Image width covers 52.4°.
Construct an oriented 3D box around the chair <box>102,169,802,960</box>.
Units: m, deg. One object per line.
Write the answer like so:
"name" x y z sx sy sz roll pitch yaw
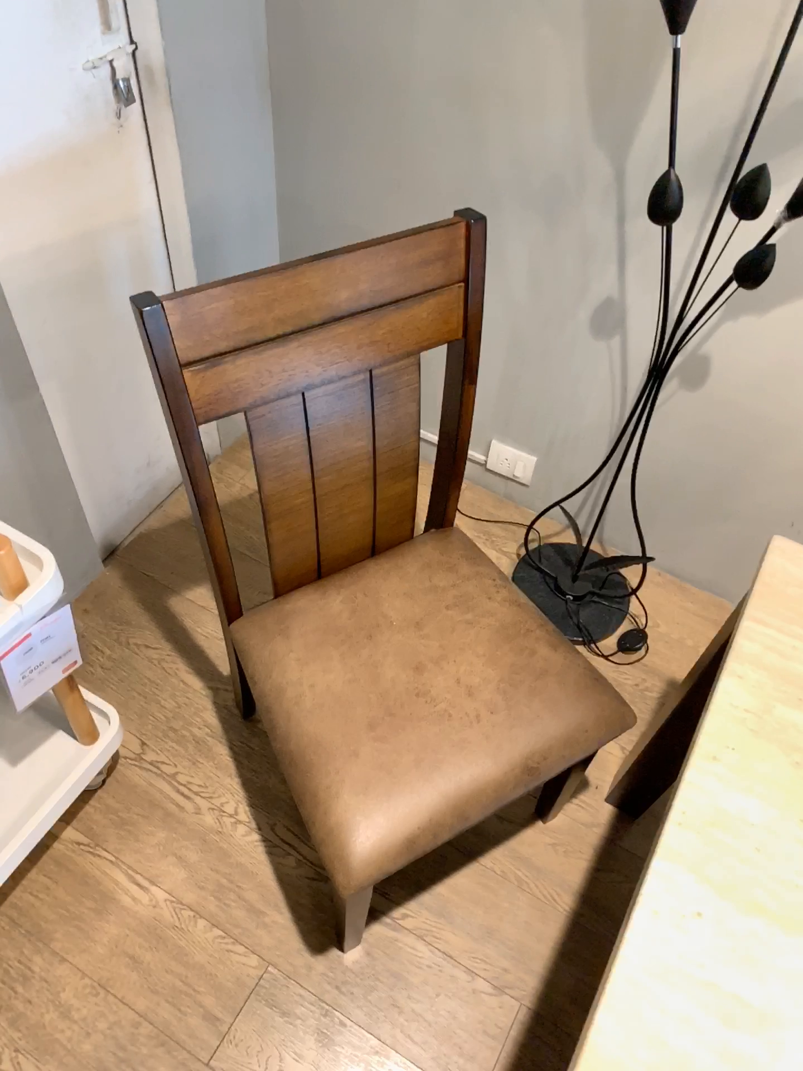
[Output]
"chair" 0.008 0.120 1.213 0.510 0.998 0.551 -24 58 -22
